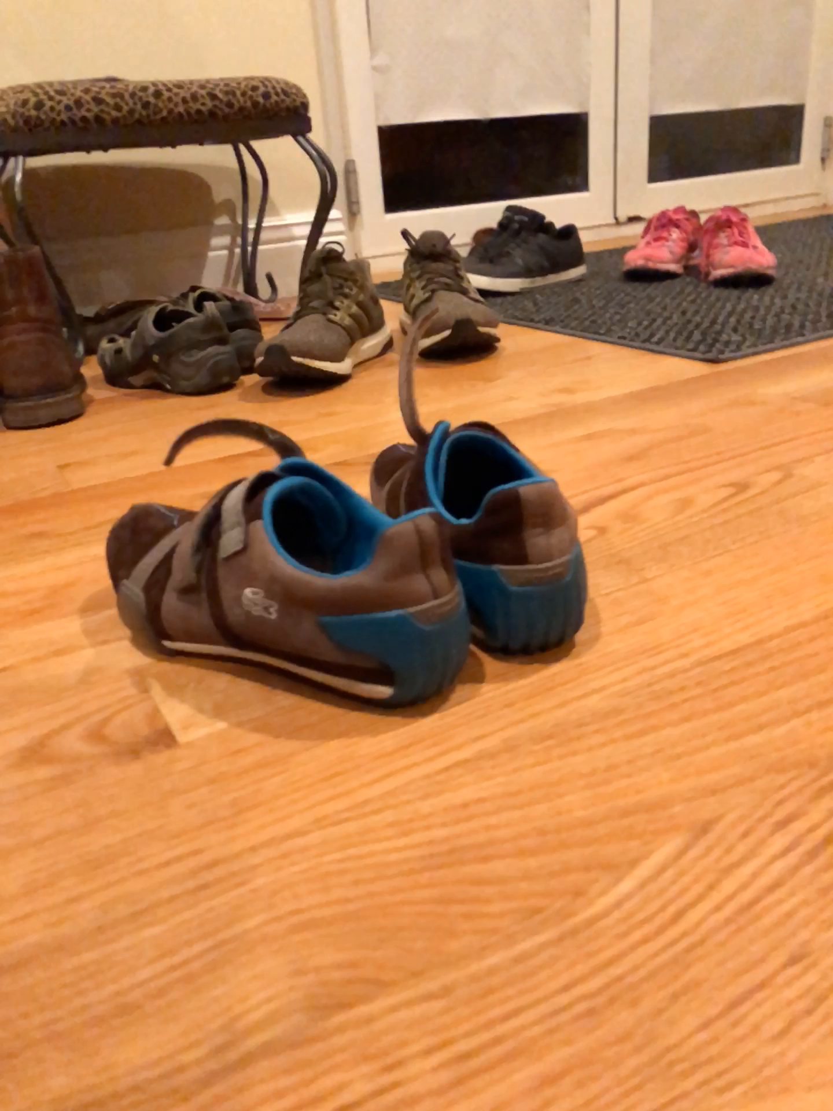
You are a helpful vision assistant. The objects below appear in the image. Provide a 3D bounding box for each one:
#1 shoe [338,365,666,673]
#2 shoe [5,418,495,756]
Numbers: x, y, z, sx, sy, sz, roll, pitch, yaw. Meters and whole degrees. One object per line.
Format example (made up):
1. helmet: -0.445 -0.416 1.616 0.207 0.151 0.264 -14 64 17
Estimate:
1. shoe: 0.035 -0.040 0.550 0.102 0.092 0.256 -11 24 -14
2. shoe: -0.095 -0.001 0.479 0.255 0.092 0.102 15 30 38
